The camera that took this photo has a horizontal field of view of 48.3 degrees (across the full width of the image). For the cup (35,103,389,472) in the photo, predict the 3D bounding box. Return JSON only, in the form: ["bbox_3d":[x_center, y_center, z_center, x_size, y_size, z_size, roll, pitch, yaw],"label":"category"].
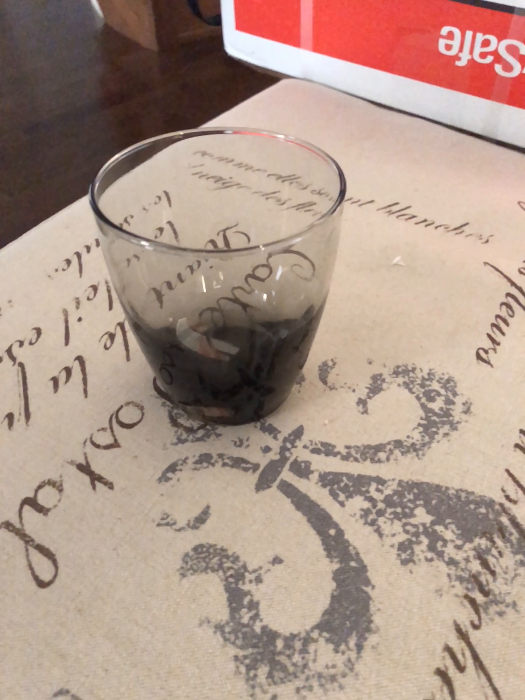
[{"bbox_3d":[-0.014,-0.029,0.233,0.088,0.092,0.088,0,44,0],"label":"cup"}]
